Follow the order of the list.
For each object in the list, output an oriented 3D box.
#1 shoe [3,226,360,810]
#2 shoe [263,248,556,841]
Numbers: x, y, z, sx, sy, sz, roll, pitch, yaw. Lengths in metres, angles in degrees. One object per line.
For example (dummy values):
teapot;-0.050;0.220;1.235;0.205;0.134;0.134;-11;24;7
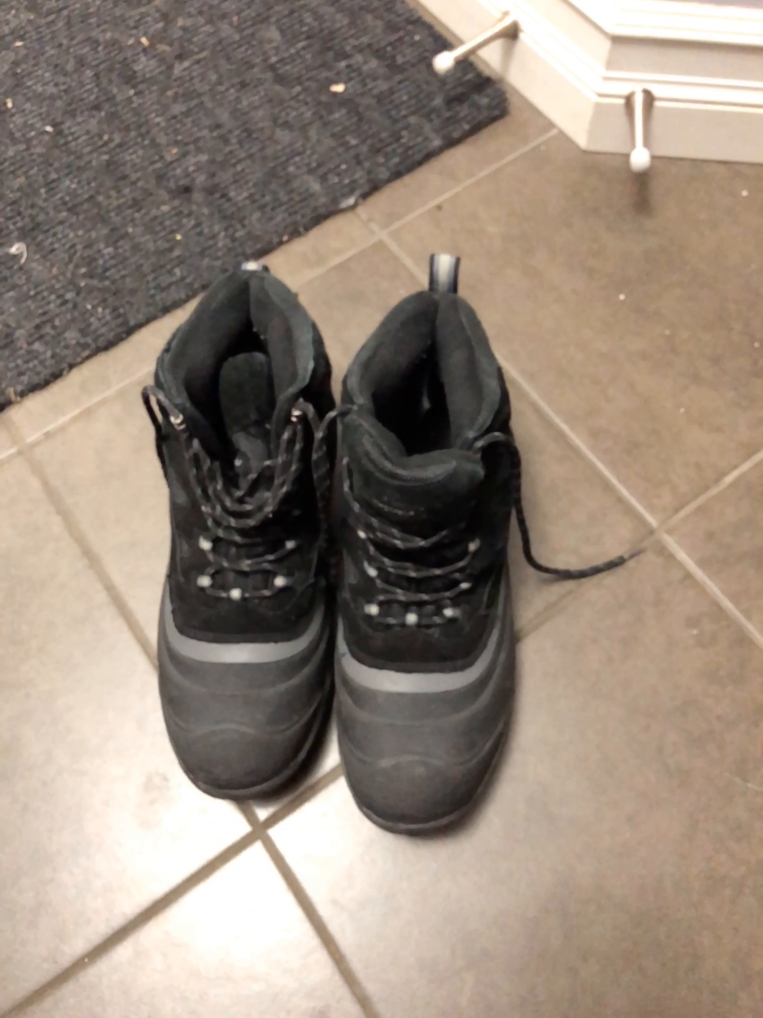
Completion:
shoe;-0.090;0.016;0.513;0.120;0.200;0.290;3;66;3
shoe;0.021;0.031;0.499;0.120;0.200;0.290;2;66;3
